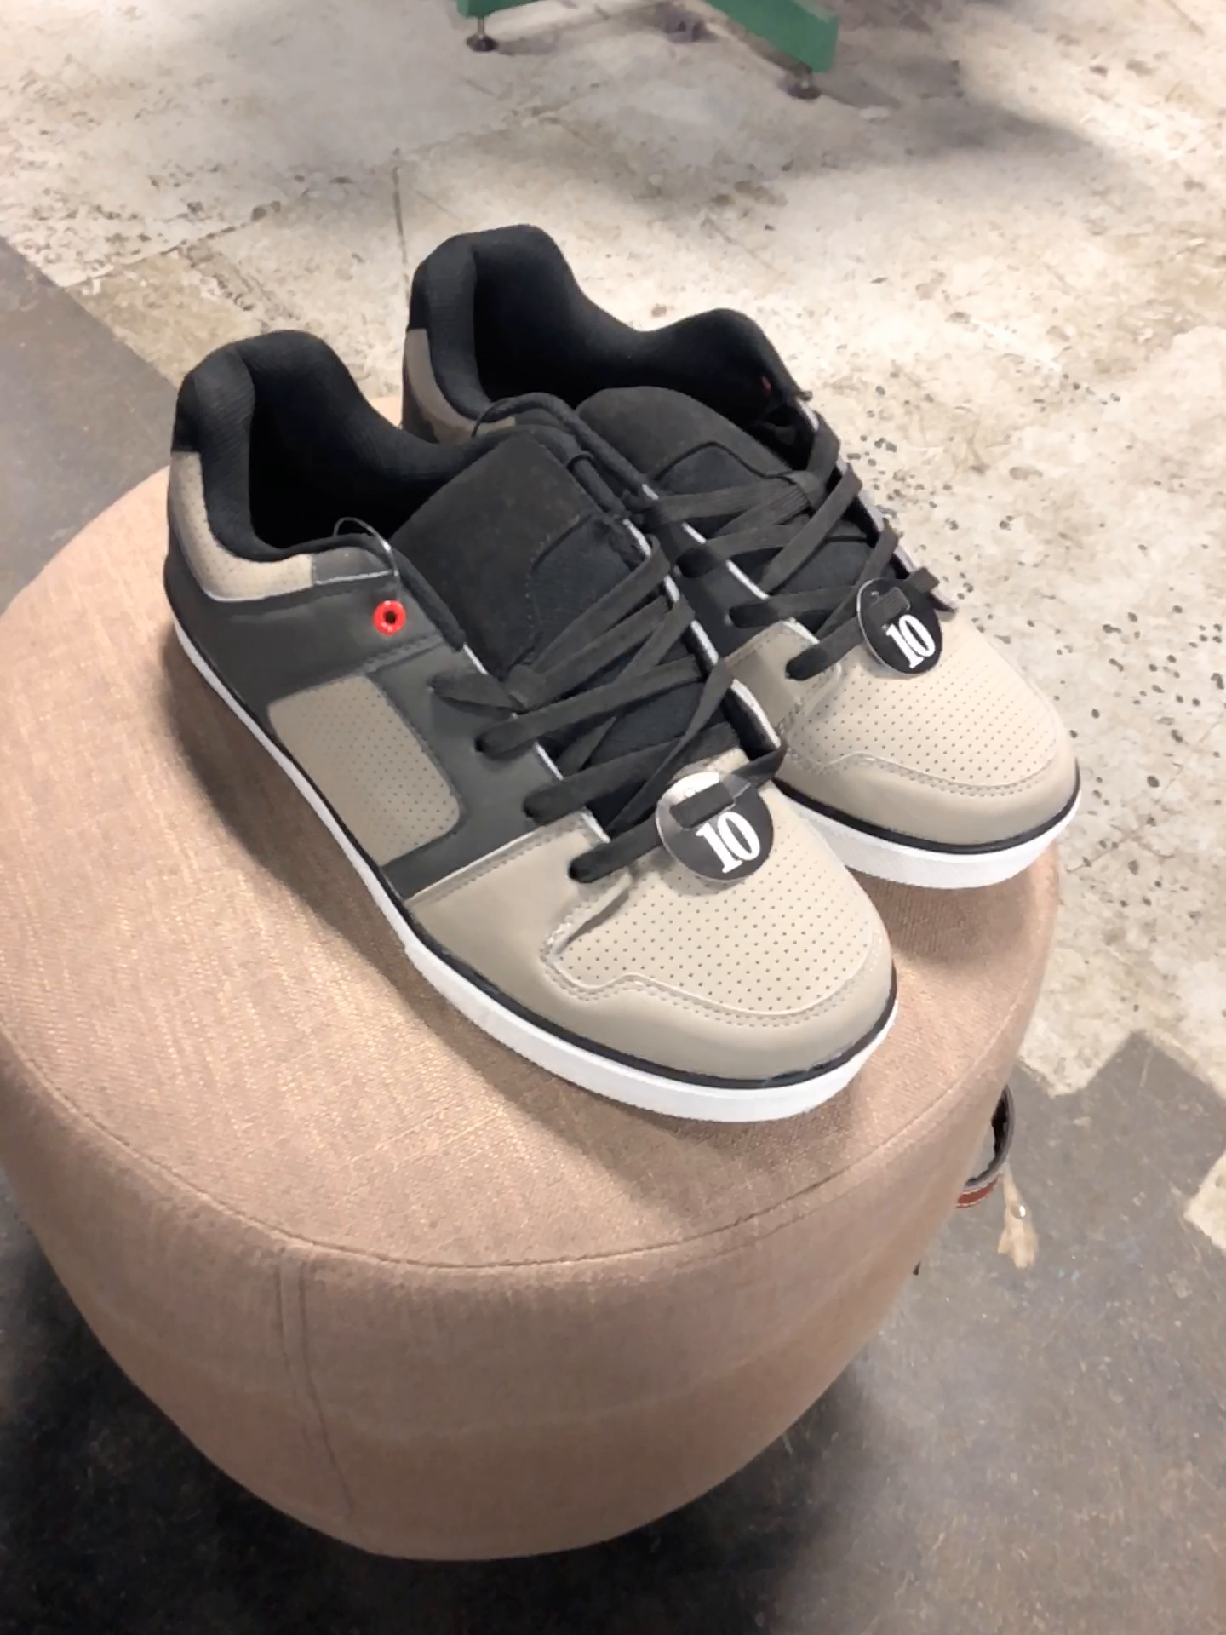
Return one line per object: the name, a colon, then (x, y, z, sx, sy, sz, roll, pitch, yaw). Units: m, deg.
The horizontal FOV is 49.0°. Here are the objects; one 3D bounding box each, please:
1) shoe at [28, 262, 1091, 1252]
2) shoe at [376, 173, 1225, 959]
shoe: (-0.029, -0.035, 0.385, 0.120, 0.089, 0.281, -35, 63, -27)
shoe: (0.053, -0.098, 0.454, 0.110, 0.089, 0.281, -35, 63, -27)
